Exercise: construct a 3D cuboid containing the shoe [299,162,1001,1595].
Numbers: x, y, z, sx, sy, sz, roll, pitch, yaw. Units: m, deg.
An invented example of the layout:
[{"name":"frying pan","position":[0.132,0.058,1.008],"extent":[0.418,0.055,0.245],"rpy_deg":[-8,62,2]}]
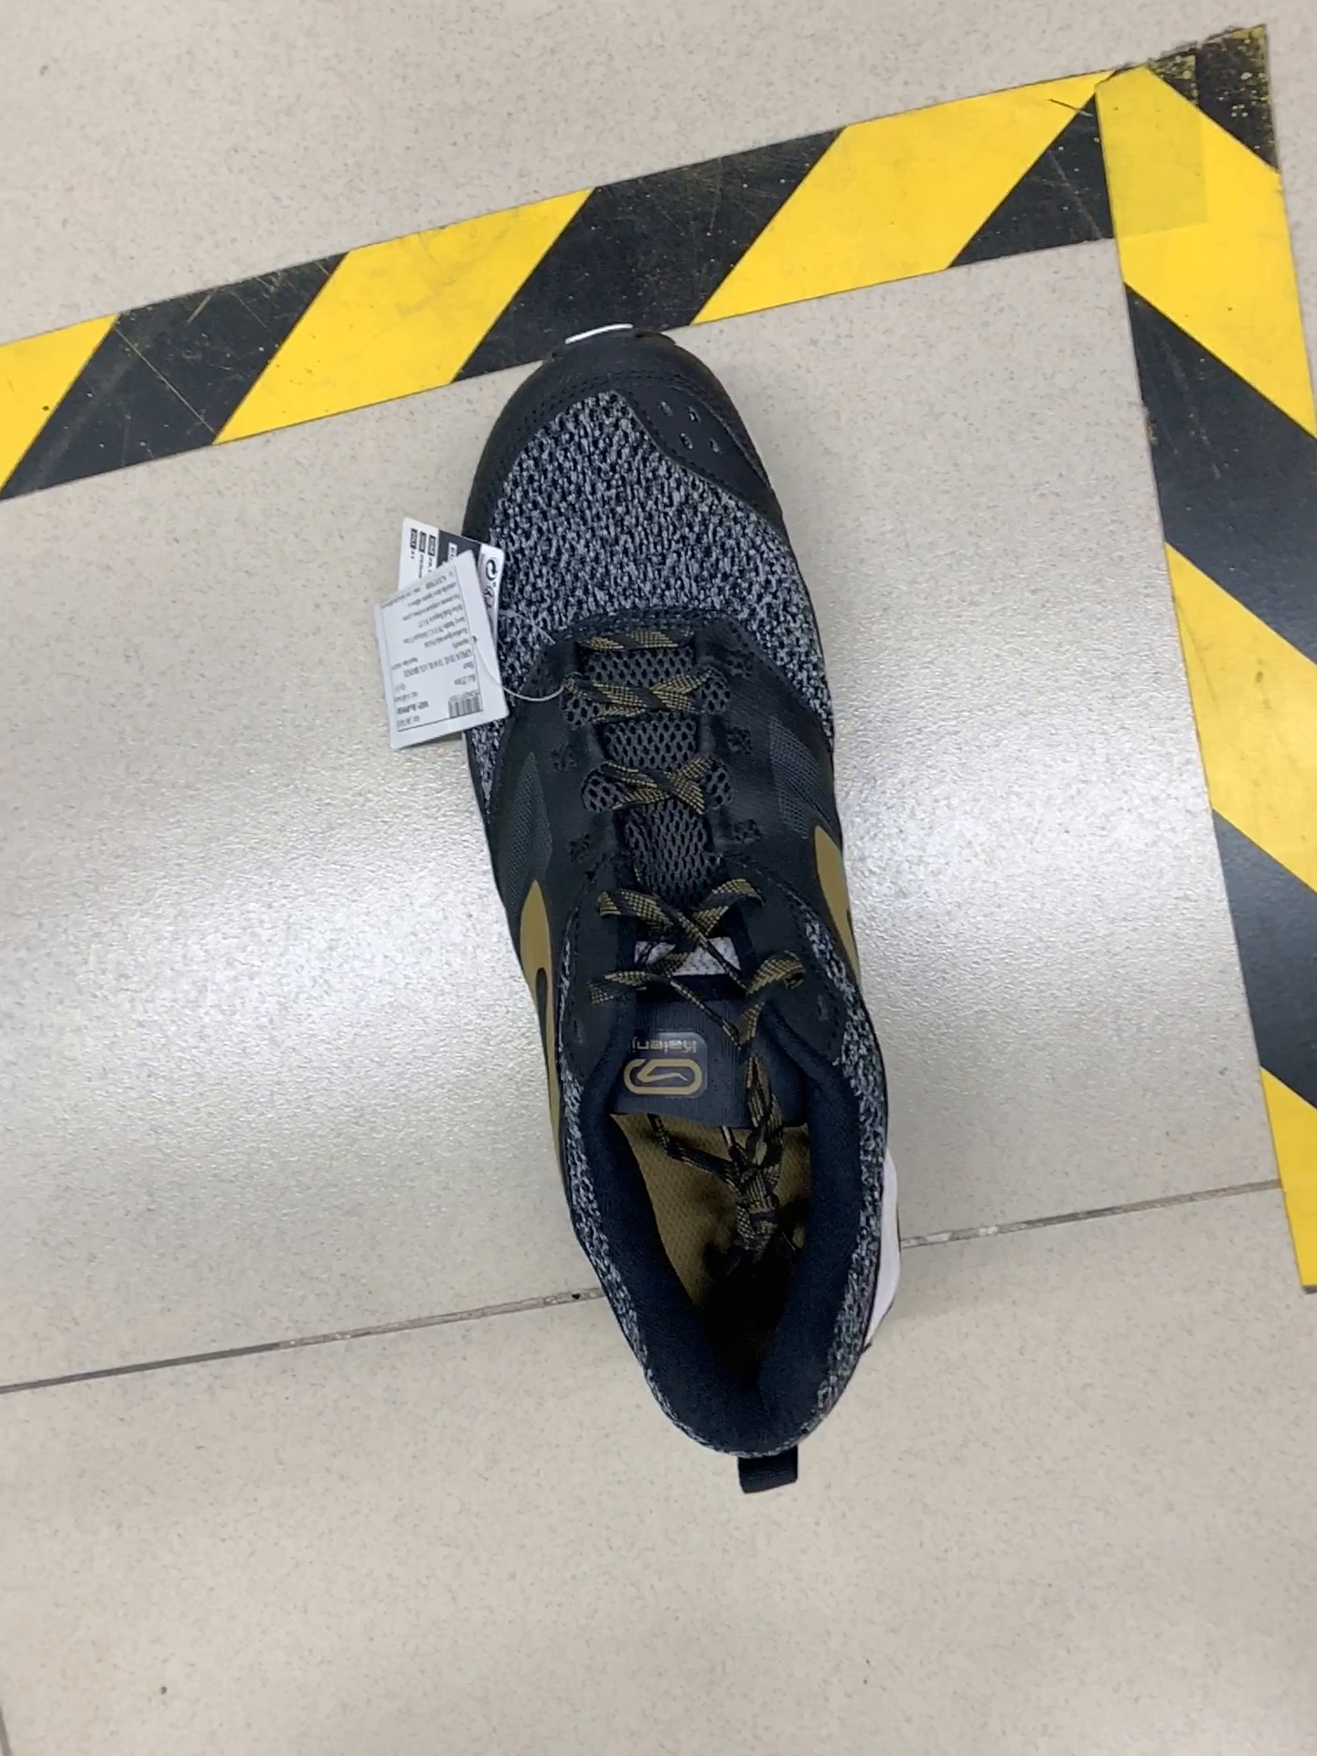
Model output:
[{"name":"shoe","position":[0.002,0.003,0.345],"extent":[0.110,0.100,0.300],"rpy_deg":[-9,91,6]}]
